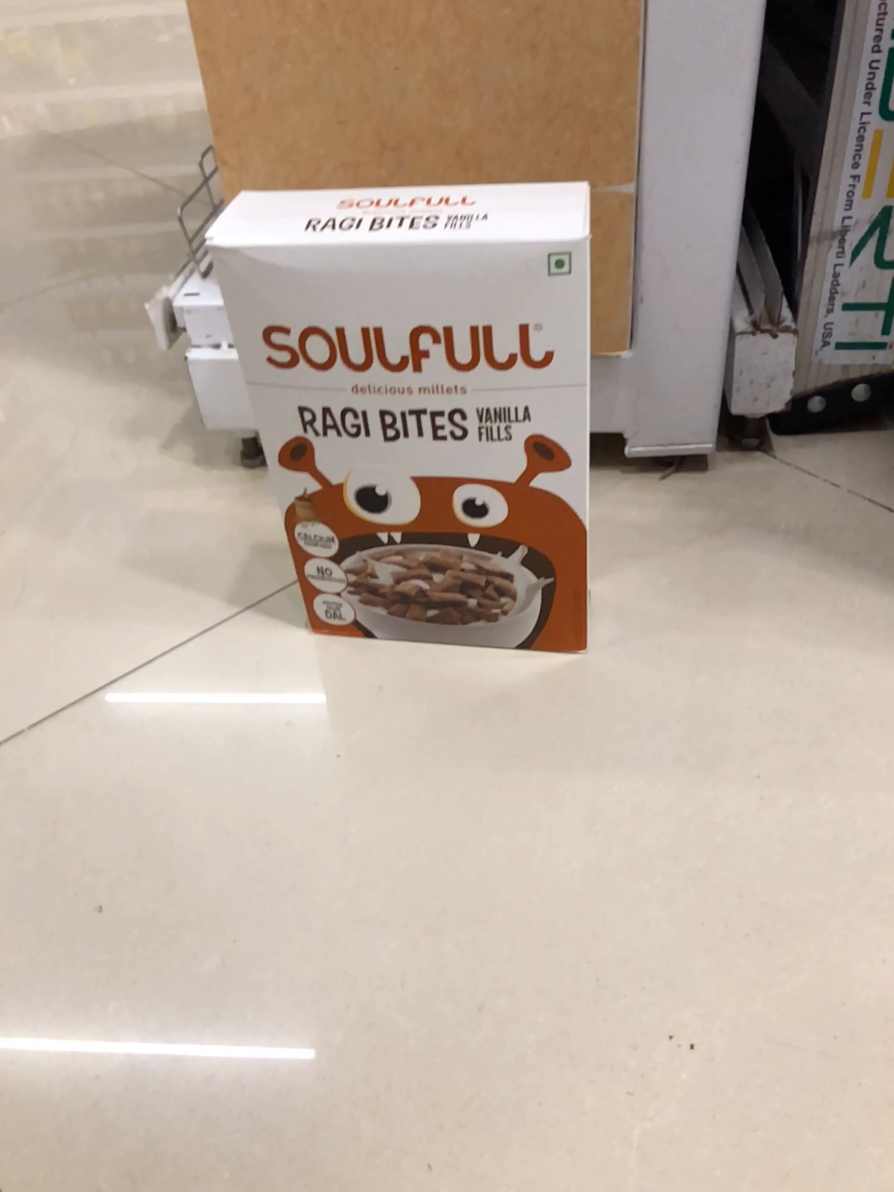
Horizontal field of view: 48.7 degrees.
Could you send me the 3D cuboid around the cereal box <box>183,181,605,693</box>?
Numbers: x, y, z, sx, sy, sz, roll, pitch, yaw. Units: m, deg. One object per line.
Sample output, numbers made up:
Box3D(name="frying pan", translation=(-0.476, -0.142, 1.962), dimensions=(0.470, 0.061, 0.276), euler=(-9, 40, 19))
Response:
Box3D(name="cereal box", translation=(-0.010, -0.069, 0.502), dimensions=(0.170, 0.248, 0.070), euler=(3, 41, 11))
